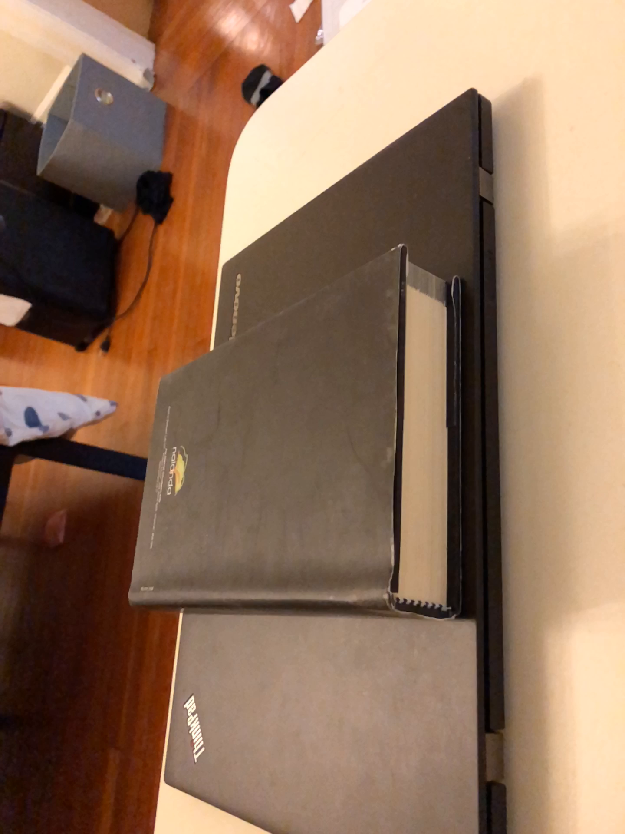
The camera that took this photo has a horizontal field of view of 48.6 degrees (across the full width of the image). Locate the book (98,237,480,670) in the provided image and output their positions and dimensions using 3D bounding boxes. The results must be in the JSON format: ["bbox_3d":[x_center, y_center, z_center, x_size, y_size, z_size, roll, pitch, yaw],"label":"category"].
[{"bbox_3d":[-0.026,0.031,0.332,0.231,0.040,0.150,-17,63,49],"label":"book"}]
